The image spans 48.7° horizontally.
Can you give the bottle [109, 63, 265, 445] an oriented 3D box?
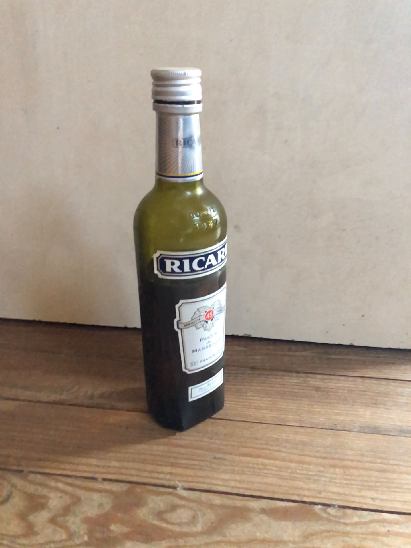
[{"bbox_3d":[-0.013,-0.007,0.325,0.070,0.259,0.060,-20,33,-35],"label":"bottle"}]
